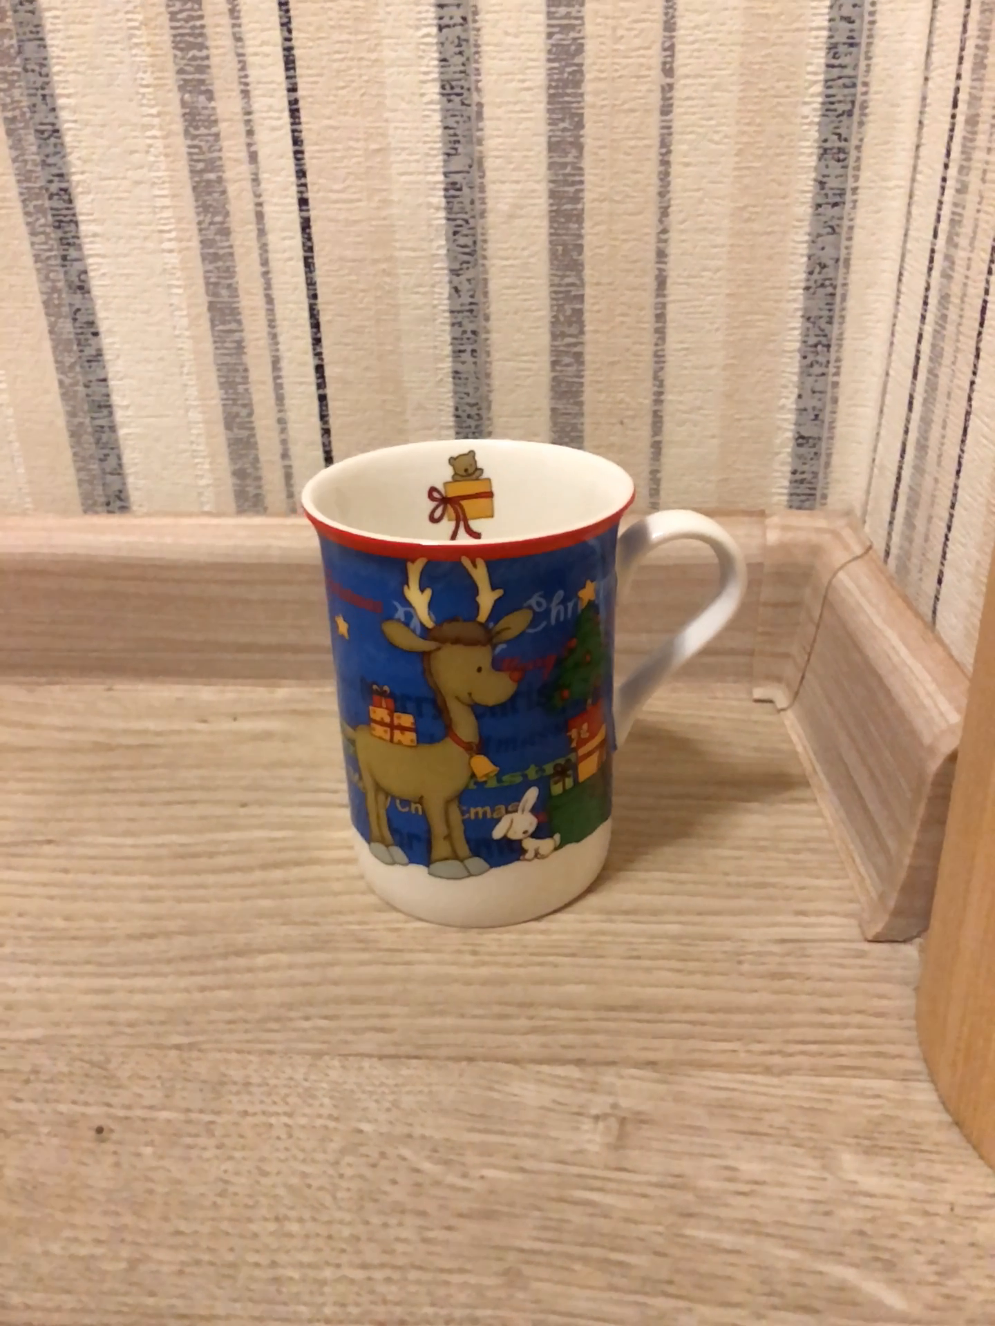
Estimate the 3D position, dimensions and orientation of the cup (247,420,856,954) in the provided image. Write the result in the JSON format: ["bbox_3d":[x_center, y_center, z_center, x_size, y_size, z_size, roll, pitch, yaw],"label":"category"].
[{"bbox_3d":[0.008,0.000,0.274,0.120,0.094,0.088,-5,26,-6],"label":"cup"}]
